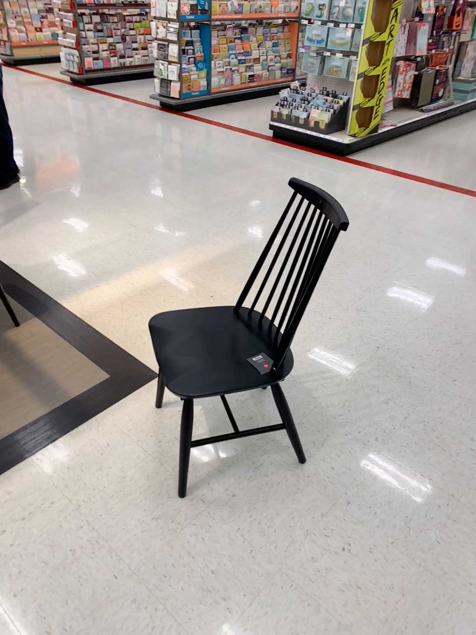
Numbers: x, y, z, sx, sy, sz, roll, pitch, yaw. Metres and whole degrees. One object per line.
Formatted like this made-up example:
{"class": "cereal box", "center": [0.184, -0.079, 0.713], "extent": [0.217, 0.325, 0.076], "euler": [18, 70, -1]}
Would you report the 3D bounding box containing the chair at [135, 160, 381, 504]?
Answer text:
{"class": "chair", "center": [-0.001, 0.045, 1.600], "extent": [0.550, 0.945, 0.533], "euler": [-7, 36, -14]}
